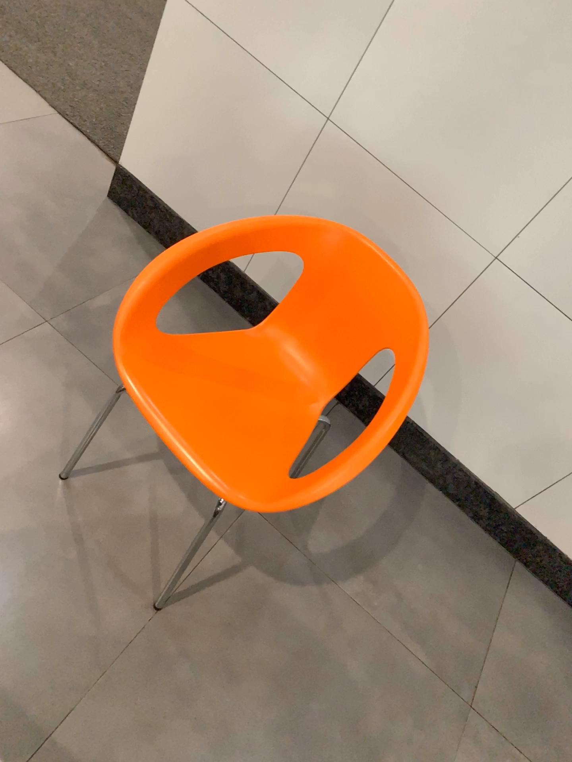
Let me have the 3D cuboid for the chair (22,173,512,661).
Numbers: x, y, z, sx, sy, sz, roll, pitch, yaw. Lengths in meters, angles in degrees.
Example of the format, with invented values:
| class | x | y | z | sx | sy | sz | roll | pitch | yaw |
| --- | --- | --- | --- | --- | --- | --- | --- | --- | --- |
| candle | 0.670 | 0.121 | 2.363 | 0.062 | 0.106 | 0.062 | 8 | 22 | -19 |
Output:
| class | x | y | z | sx | sy | sz | roll | pitch | yaw |
| --- | --- | --- | --- | --- | --- | --- | --- | --- | --- |
| chair | -0.071 | 0.050 | 1.322 | 0.661 | 0.665 | 0.644 | 48 | 43 | 12 |
